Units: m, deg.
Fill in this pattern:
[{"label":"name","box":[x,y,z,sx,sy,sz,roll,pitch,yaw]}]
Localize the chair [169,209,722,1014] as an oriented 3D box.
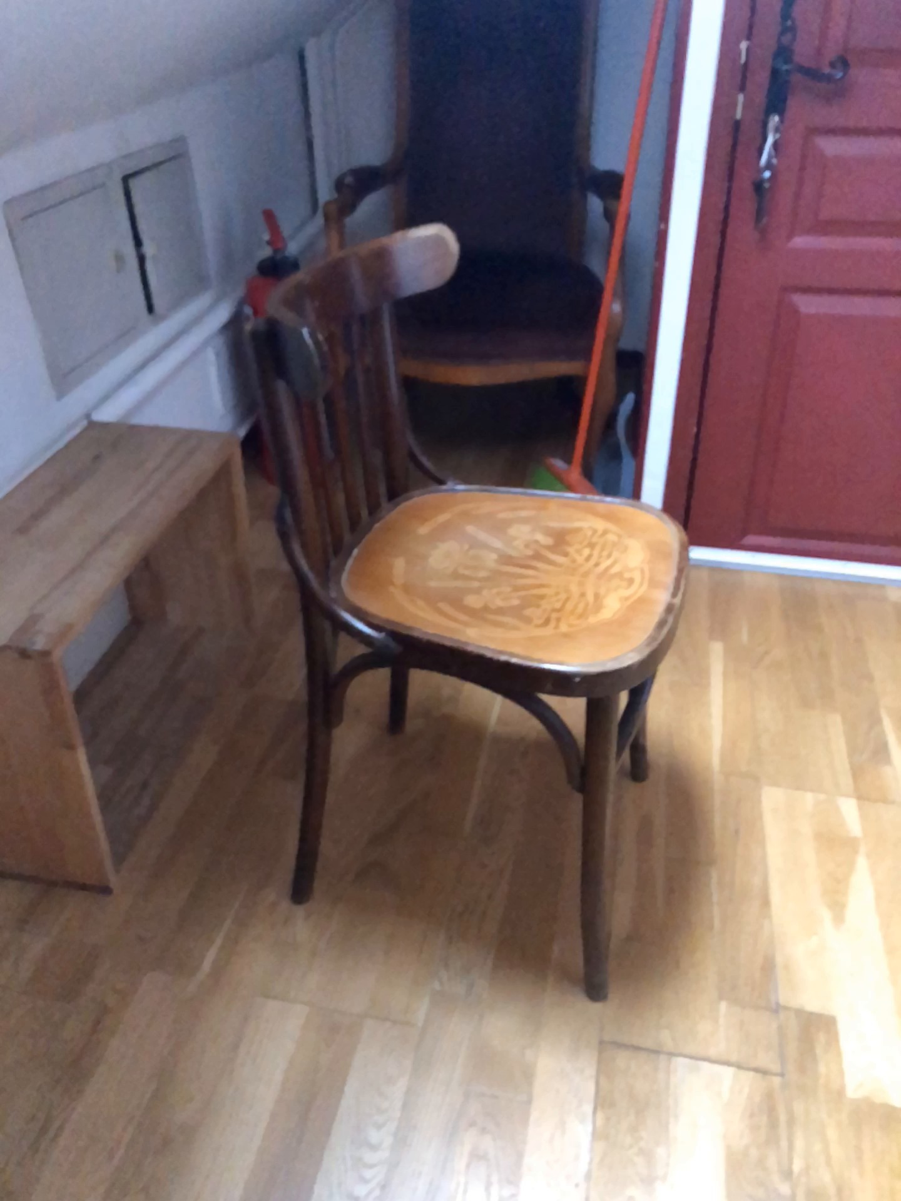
[{"label":"chair","box":[0.037,0.000,1.124,0.411,0.737,0.445,8,33,13]}]
